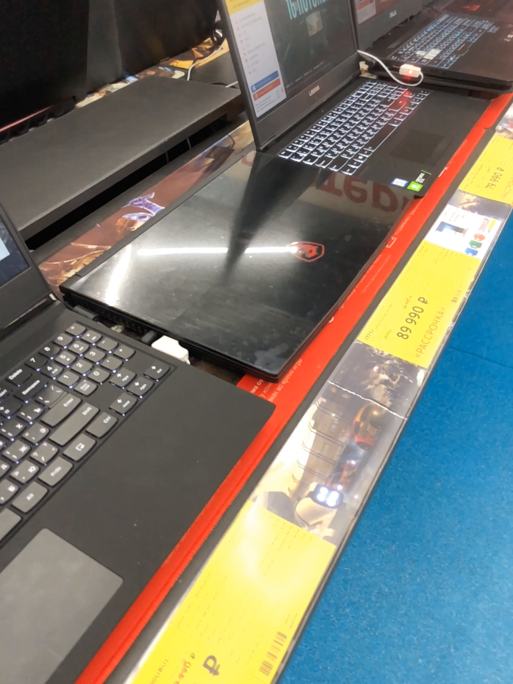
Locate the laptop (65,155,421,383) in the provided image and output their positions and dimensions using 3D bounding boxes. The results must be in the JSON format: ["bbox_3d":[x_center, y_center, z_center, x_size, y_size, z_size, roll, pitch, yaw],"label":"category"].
[{"bbox_3d":[0.006,-0.111,0.619,0.239,0.002,0.354,21,48,22],"label":"laptop"}]
